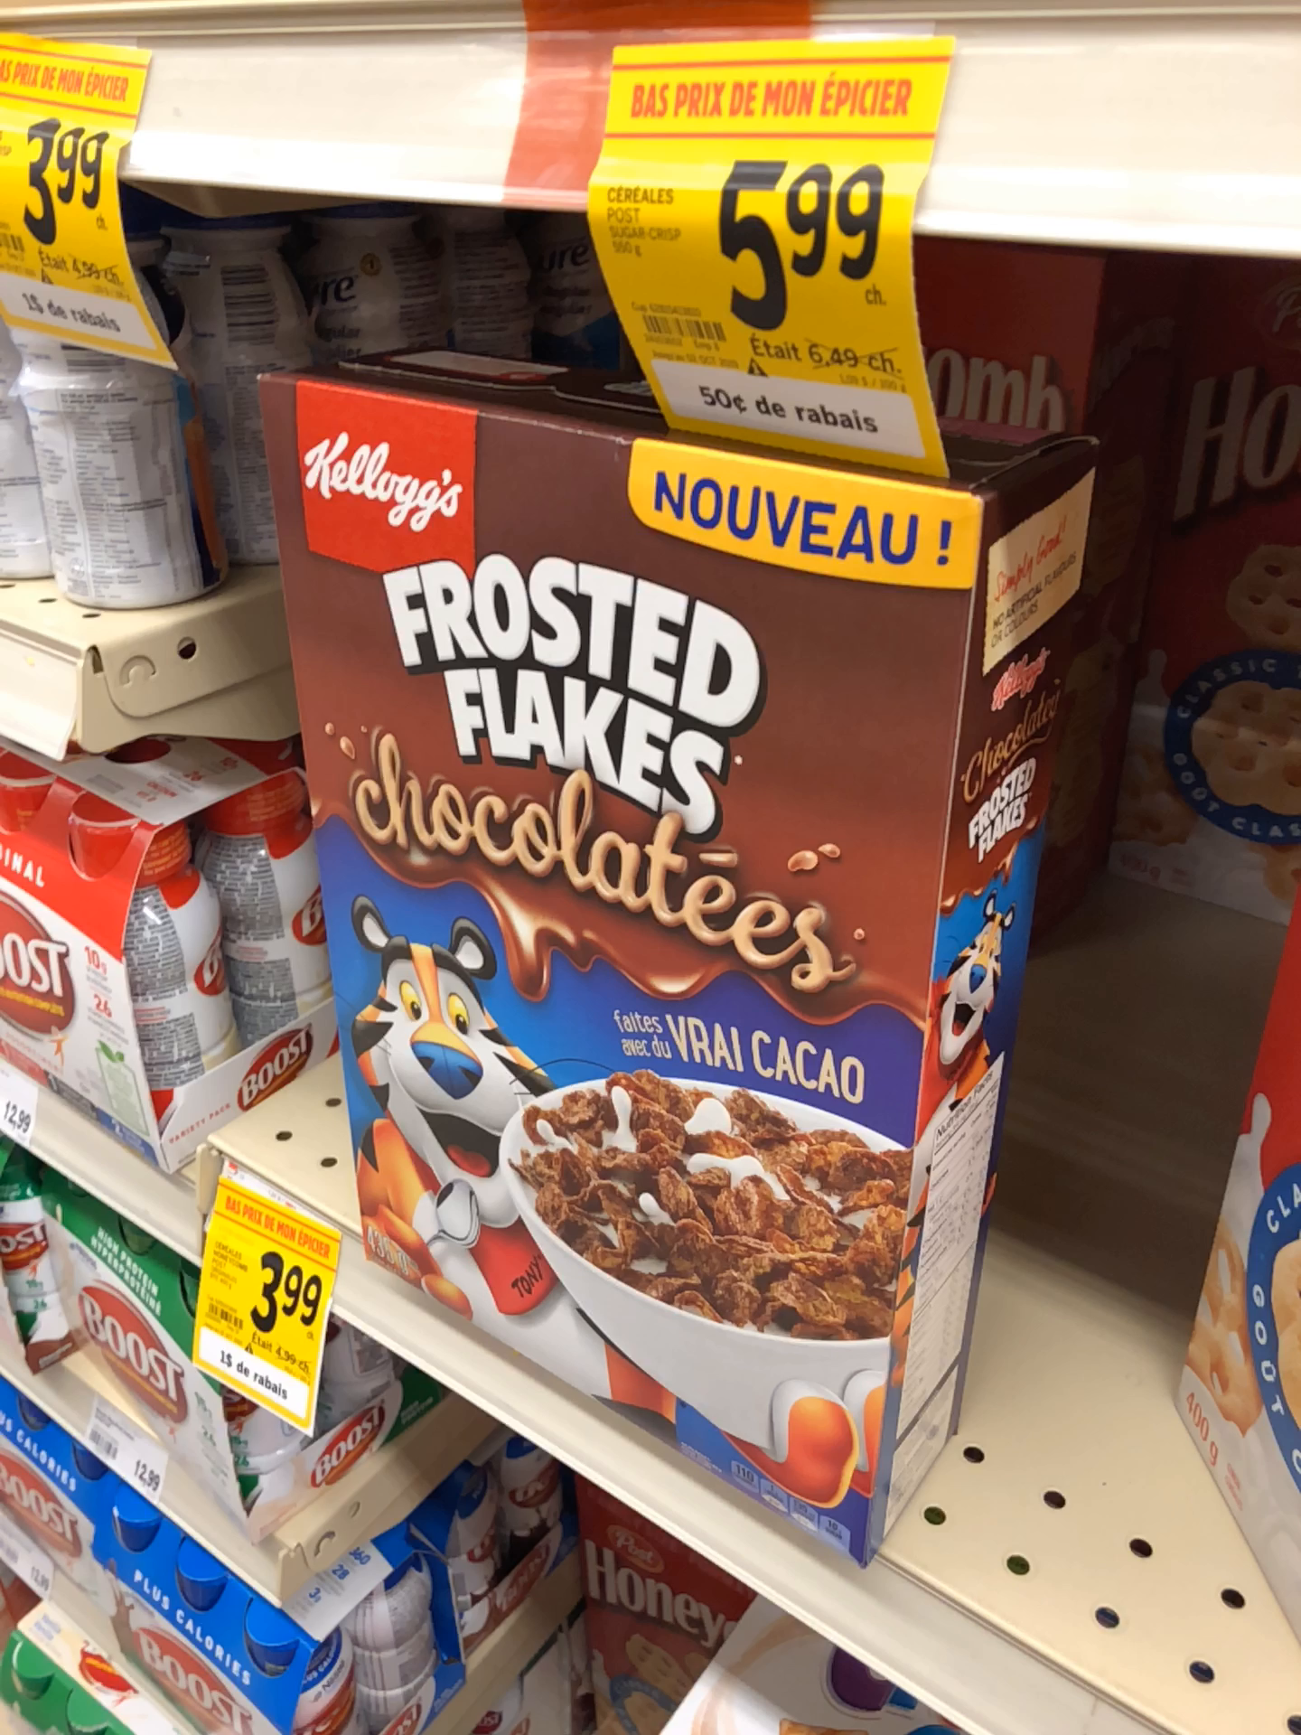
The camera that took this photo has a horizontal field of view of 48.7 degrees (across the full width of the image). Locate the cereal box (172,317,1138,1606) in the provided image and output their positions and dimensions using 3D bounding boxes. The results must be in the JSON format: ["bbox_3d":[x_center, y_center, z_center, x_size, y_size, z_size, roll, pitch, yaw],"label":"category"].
[{"bbox_3d":[-0.011,0.017,0.376,0.211,0.278,0.070,21,34,33],"label":"cereal box"}]
